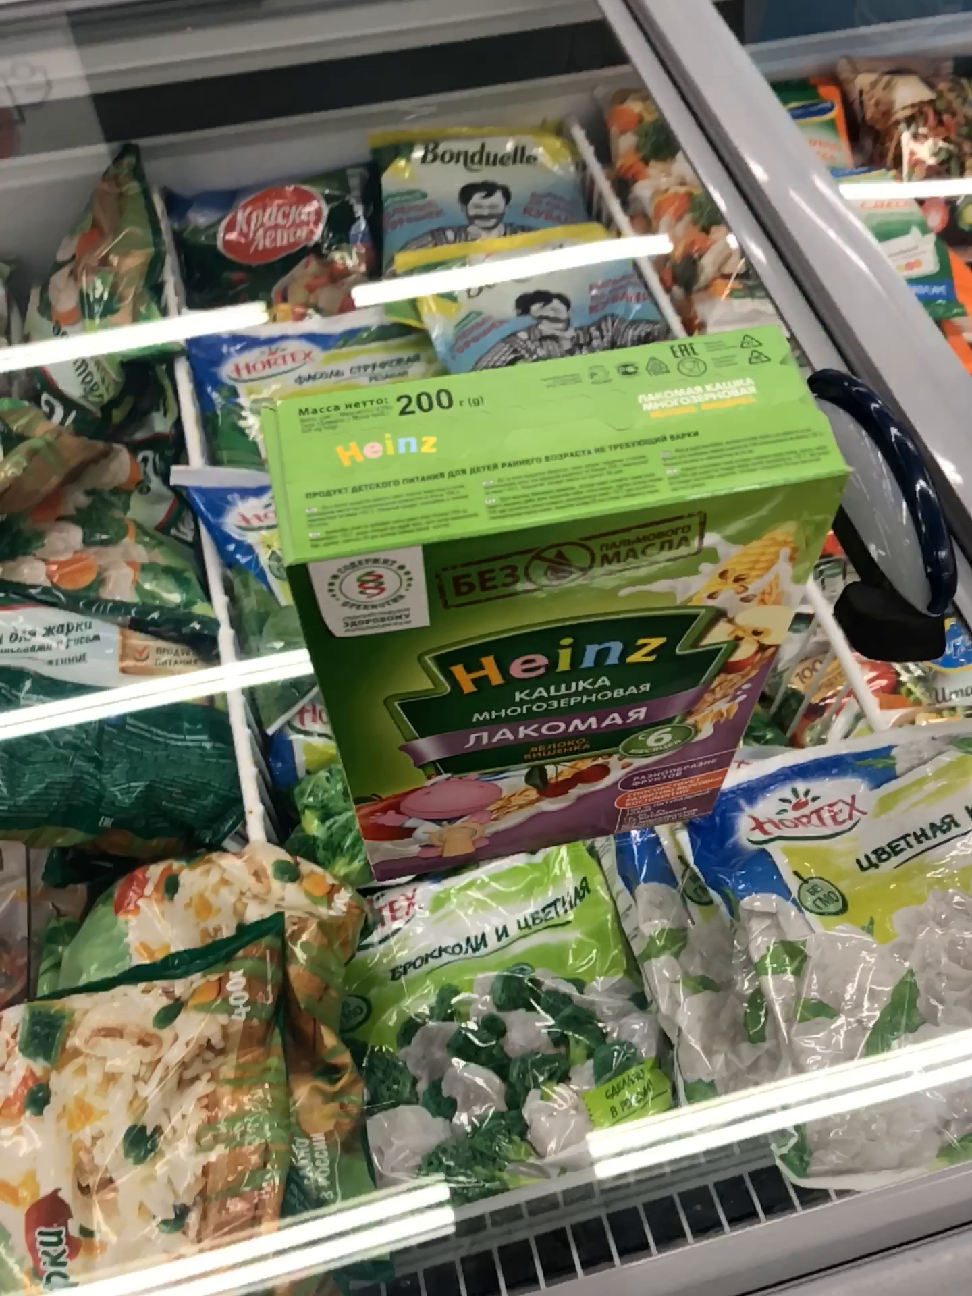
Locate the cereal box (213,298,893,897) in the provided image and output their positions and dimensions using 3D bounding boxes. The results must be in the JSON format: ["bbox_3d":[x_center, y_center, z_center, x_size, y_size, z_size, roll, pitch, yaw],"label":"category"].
[{"bbox_3d":[0.014,0.003,0.317,0.140,0.199,0.050,-10,58,-5],"label":"cereal box"}]
